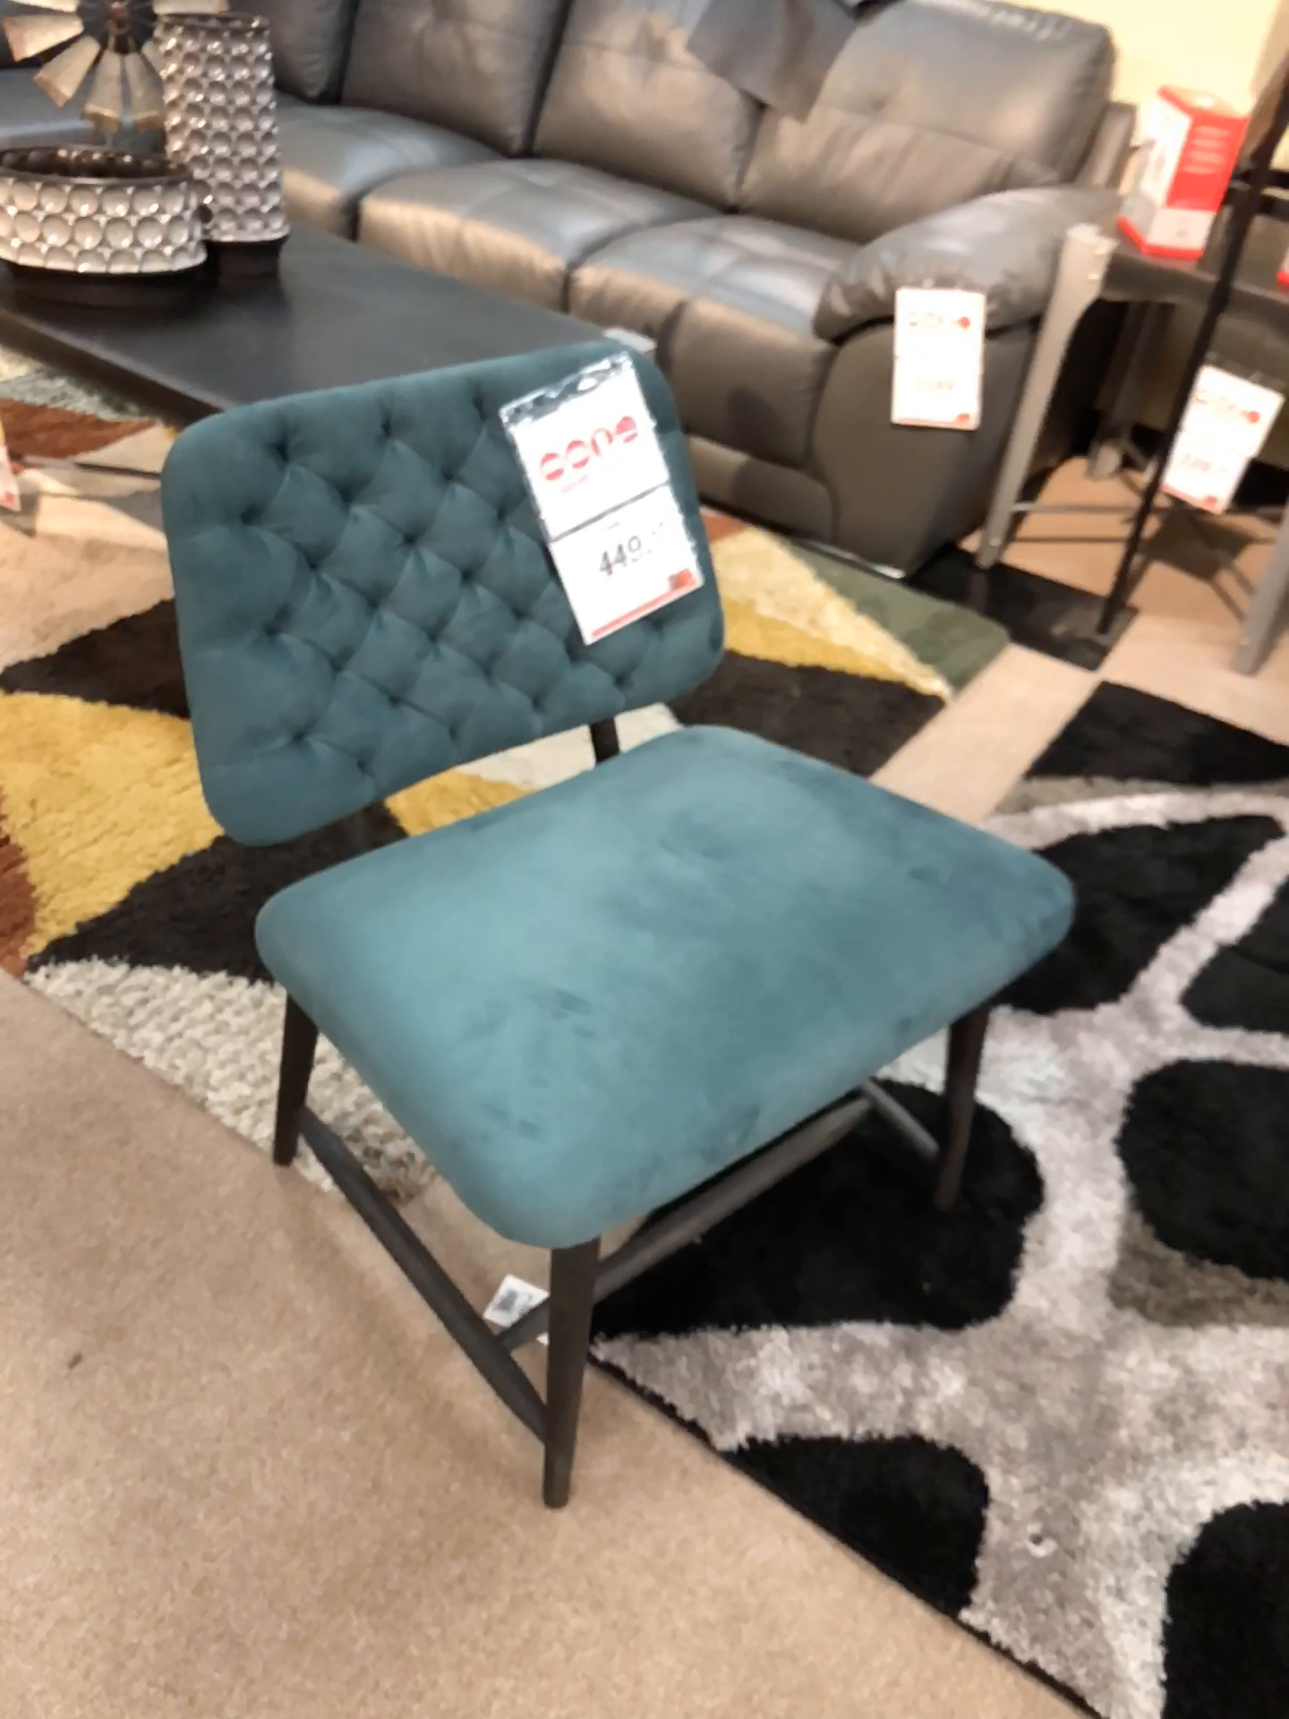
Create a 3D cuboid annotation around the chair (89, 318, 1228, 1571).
[{"bbox_3d":[-0.021,0.028,1.250,0.641,0.765,0.533,-24,48,-36],"label":"chair"}]
